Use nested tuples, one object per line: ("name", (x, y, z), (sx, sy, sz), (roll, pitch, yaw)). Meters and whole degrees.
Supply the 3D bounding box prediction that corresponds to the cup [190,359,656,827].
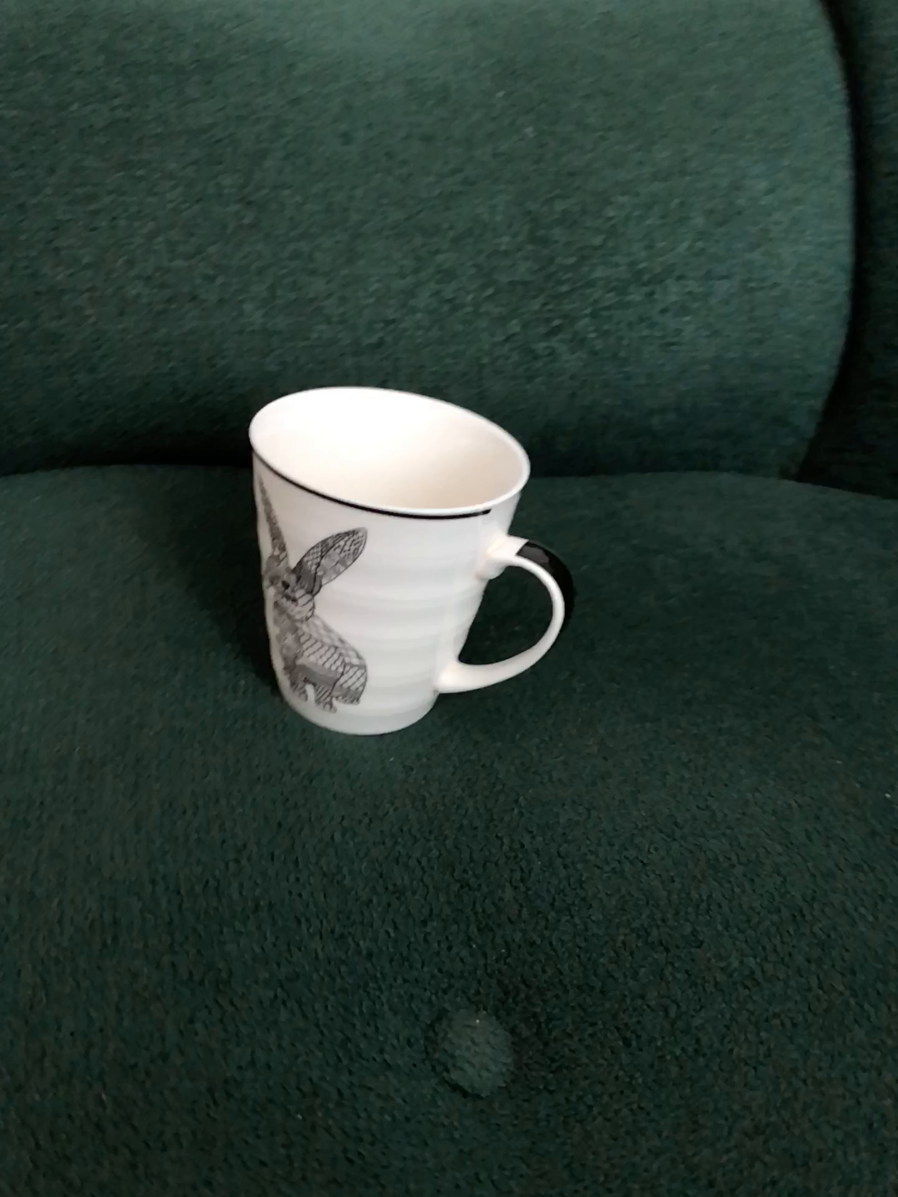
("cup", (-0.010, -0.009, 0.345), (0.120, 0.095, 0.096), (20, 36, 17))
